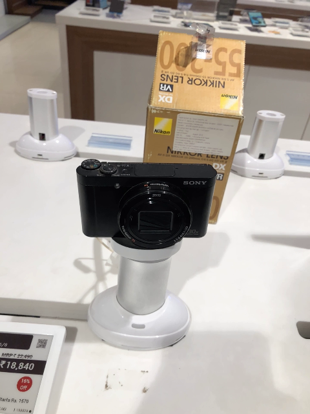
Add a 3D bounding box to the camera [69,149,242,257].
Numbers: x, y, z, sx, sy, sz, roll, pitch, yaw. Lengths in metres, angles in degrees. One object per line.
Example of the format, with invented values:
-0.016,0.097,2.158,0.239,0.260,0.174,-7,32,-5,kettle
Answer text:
-0.002,-0.001,0.252,0.110,0.070,0.030,2,37,-5,camera
